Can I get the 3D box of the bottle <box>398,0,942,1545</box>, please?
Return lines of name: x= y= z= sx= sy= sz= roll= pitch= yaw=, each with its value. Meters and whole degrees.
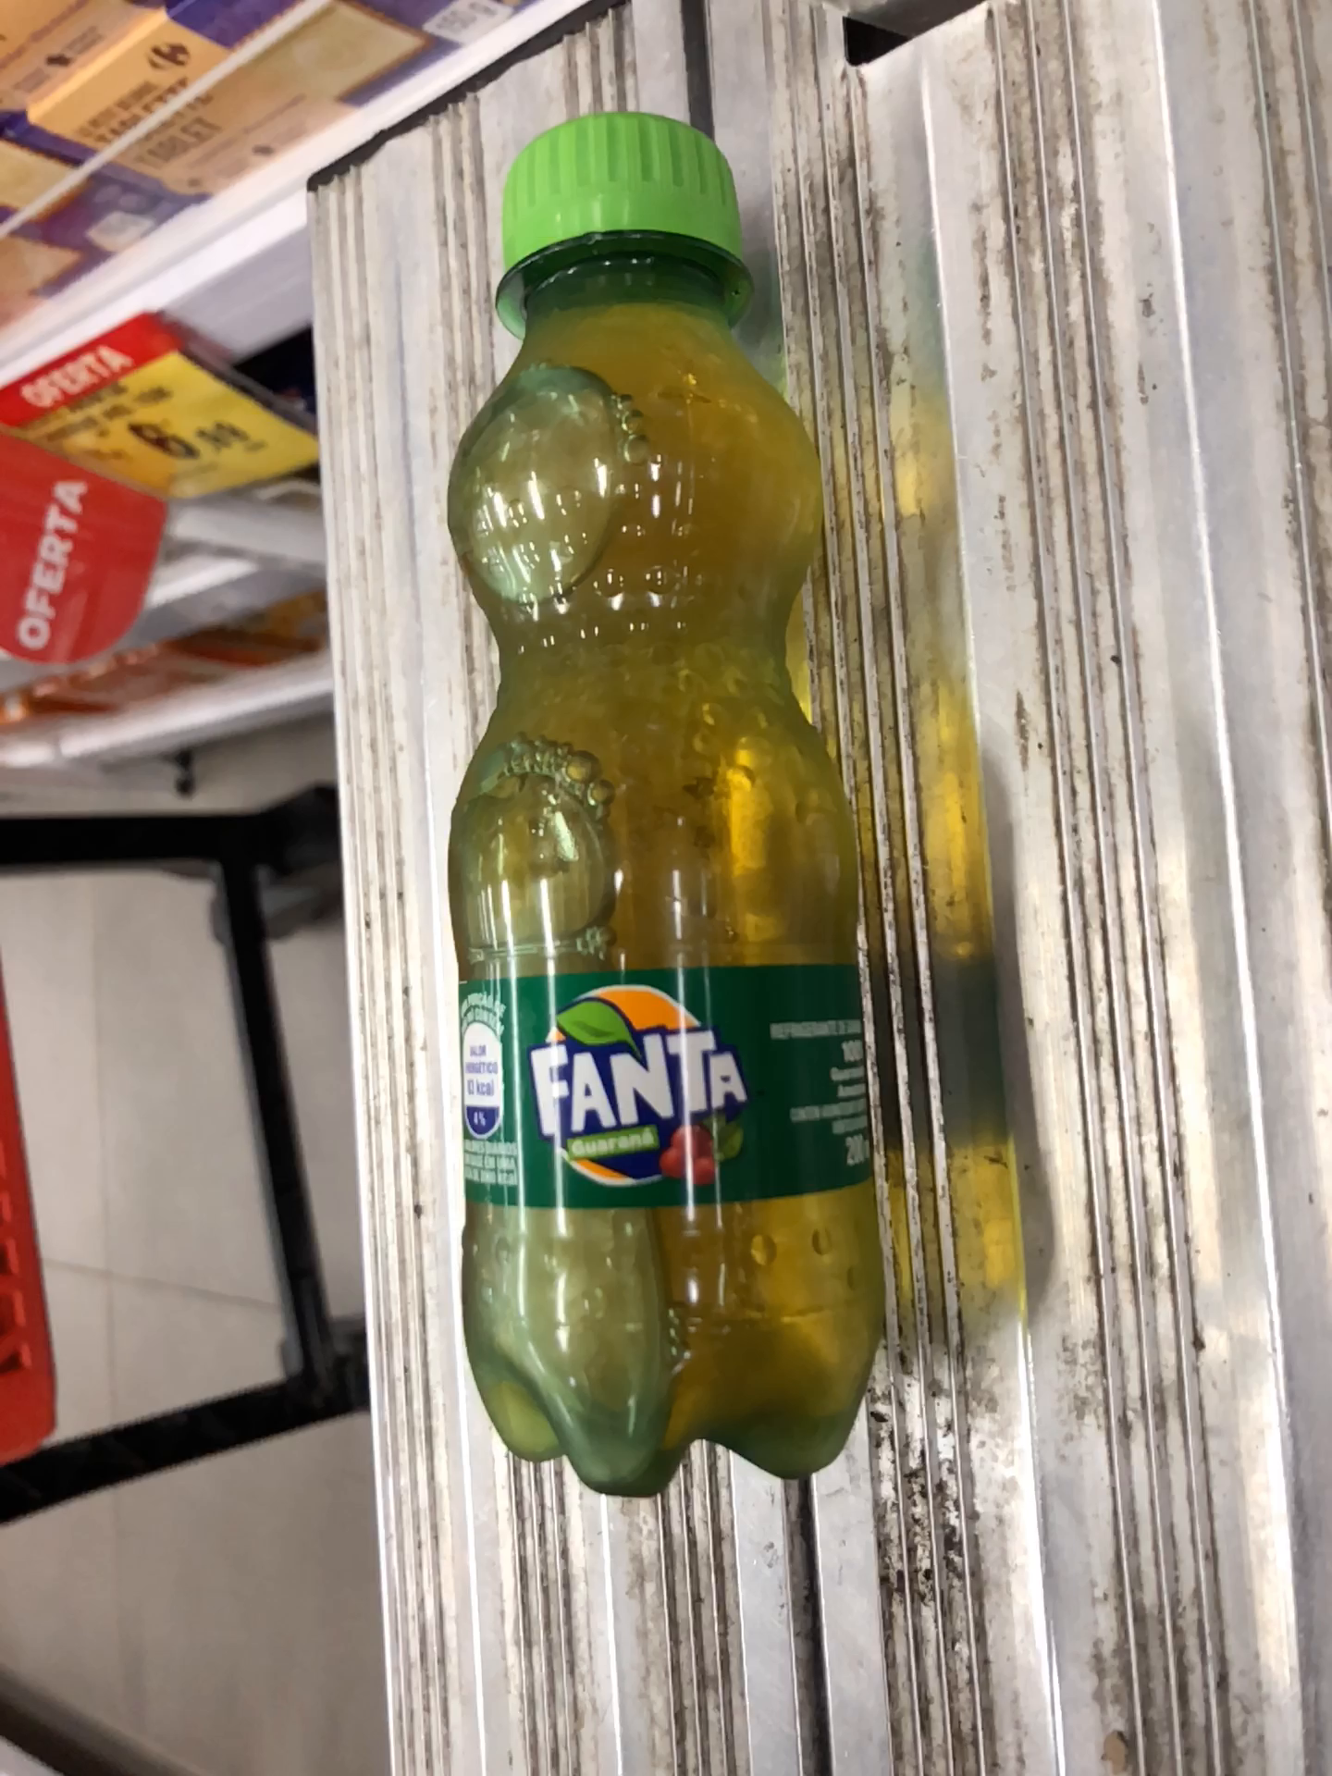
bottle: x=-0.003 y=-0.020 z=0.178 sx=0.050 sy=0.050 sz=0.170 roll=129 pitch=140 yaw=-83
